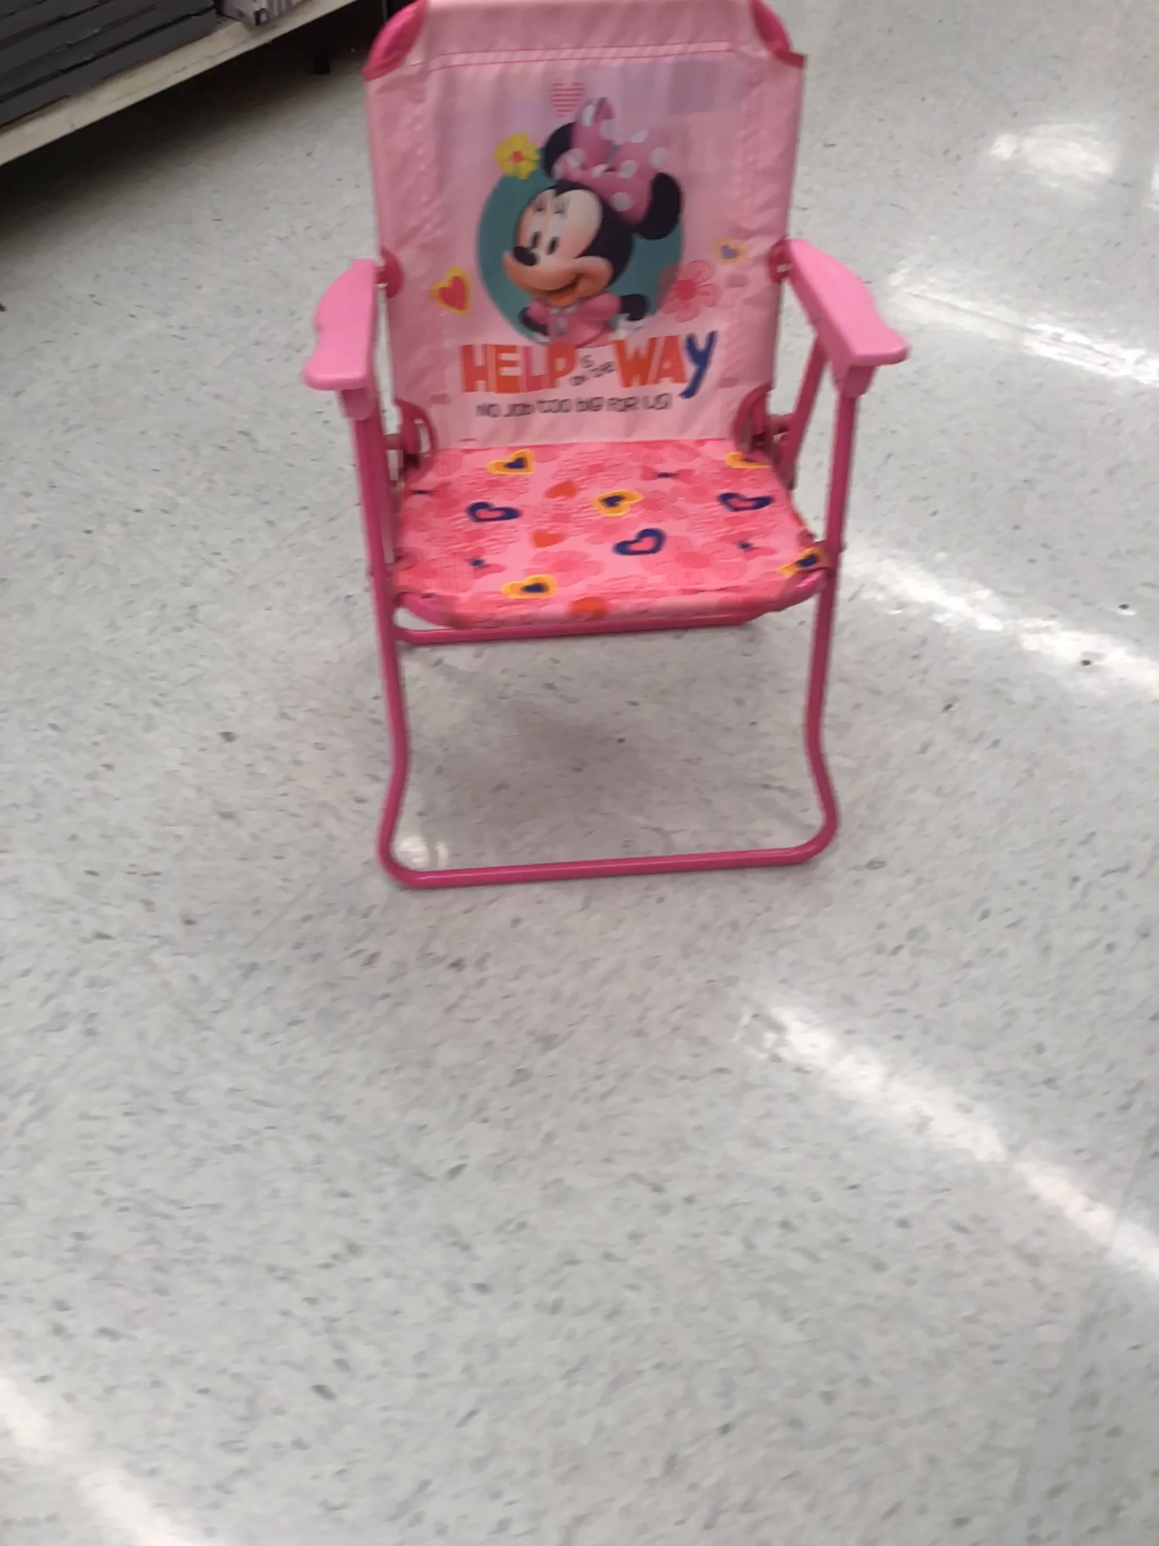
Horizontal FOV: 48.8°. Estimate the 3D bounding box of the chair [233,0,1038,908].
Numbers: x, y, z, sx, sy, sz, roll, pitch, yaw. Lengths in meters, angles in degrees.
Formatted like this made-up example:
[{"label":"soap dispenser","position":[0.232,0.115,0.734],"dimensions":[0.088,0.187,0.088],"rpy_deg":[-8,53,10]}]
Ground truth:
[{"label":"chair","position":[0.012,-0.202,0.863],"dimensions":[0.360,0.488,0.341],"rpy_deg":[-3,49,-3]}]
